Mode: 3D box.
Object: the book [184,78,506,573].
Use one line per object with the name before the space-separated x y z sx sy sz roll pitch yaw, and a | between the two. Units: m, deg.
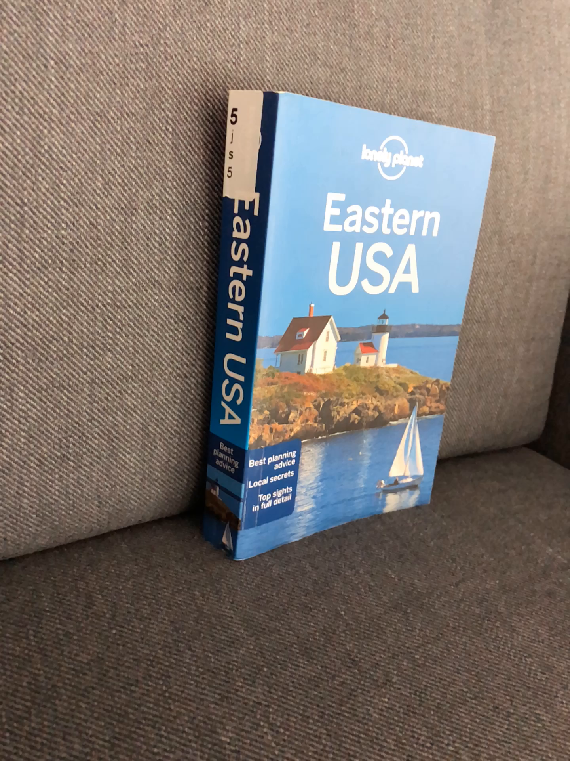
book | 0.027 -0.022 0.303 0.135 0.200 0.039 -6 21 -33
